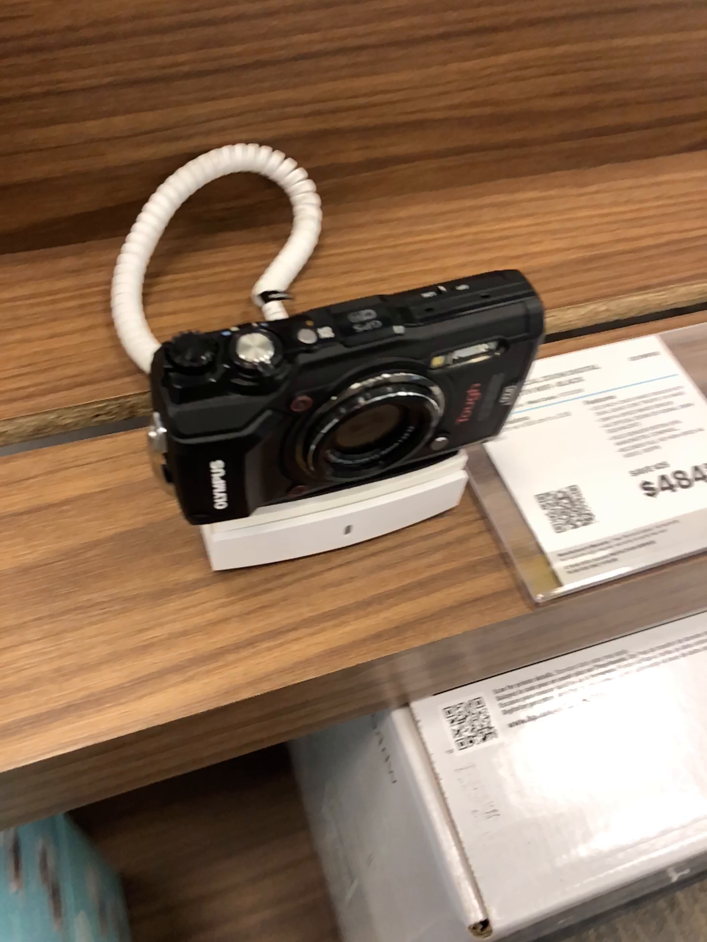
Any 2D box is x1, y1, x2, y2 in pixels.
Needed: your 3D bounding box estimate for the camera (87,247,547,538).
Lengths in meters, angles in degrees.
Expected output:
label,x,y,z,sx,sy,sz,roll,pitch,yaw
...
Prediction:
label,x,y,z,sx,sy,sz,roll,pitch,yaw
camera,-0.010,-0.023,0.235,0.120,0.060,0.030,-14,56,-15
